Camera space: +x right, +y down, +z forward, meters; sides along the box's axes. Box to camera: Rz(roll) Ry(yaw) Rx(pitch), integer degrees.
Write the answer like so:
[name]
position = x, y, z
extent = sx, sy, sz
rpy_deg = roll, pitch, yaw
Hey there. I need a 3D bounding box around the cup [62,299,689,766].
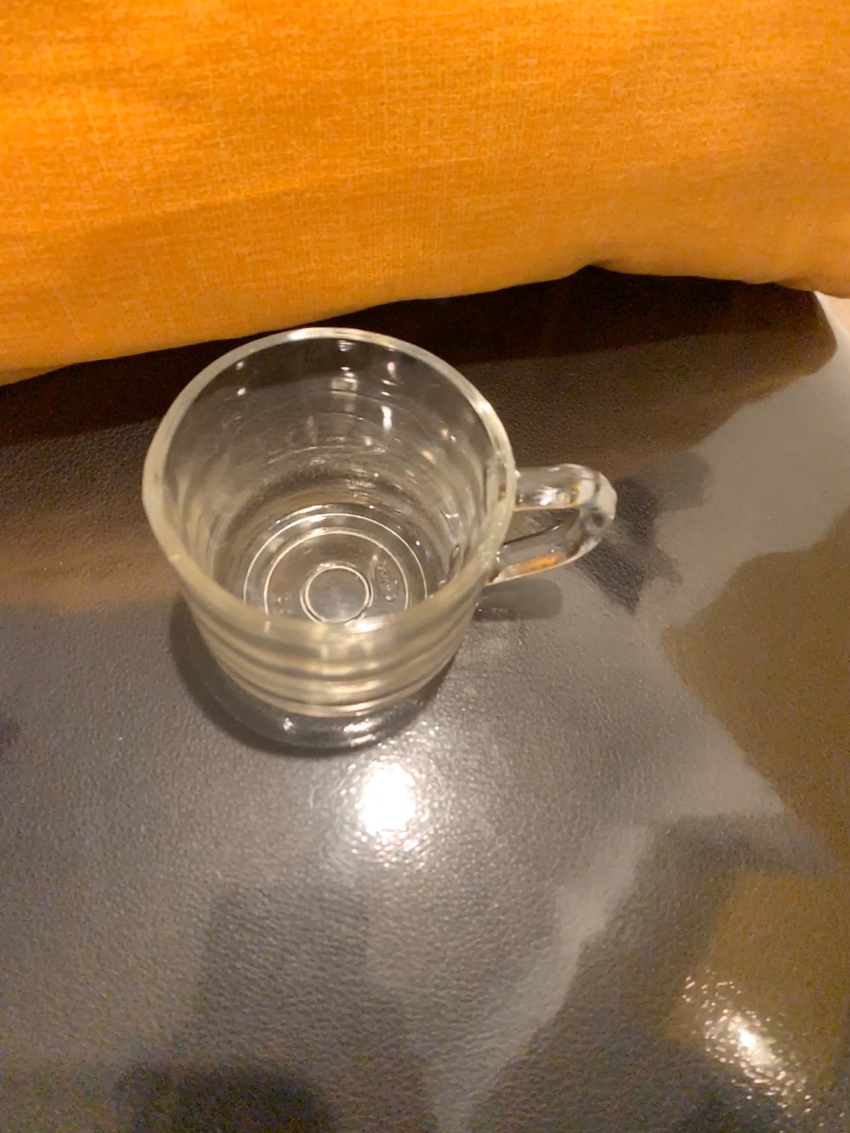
[cup]
position = -0.013, -0.006, 0.182
extent = 0.100, 0.060, 0.070
rpy_deg = -4, 65, -8
